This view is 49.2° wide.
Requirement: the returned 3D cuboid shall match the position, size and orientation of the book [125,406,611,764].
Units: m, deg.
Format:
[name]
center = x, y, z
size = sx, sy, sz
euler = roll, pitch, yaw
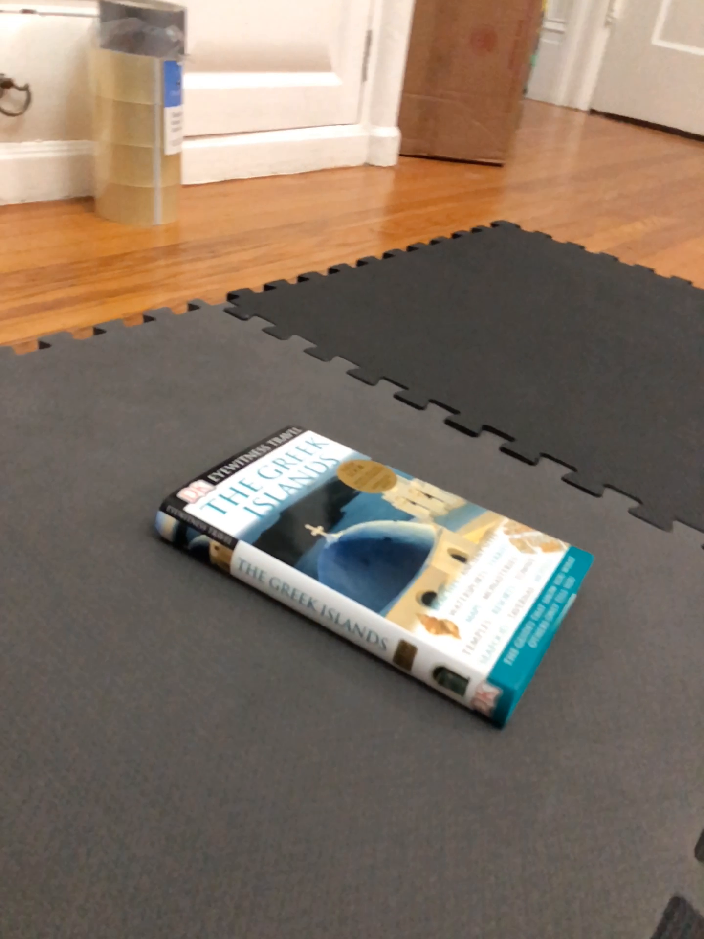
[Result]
[book]
center = 0.012, 0.046, 0.459
size = 0.240, 0.030, 0.161
euler = 25, 36, 23
